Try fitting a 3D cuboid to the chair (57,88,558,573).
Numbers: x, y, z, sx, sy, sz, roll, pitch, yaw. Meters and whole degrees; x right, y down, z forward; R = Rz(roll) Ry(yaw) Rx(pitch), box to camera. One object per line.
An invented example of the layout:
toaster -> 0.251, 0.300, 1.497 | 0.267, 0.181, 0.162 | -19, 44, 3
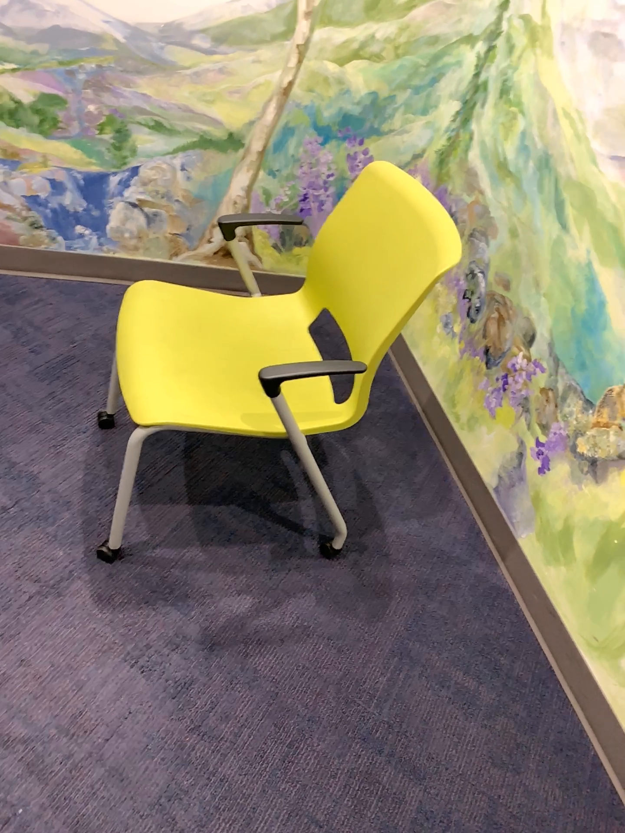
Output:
chair -> -0.105, -0.130, 1.341 | 0.741, 0.717, 0.592 | 4, 43, -19
